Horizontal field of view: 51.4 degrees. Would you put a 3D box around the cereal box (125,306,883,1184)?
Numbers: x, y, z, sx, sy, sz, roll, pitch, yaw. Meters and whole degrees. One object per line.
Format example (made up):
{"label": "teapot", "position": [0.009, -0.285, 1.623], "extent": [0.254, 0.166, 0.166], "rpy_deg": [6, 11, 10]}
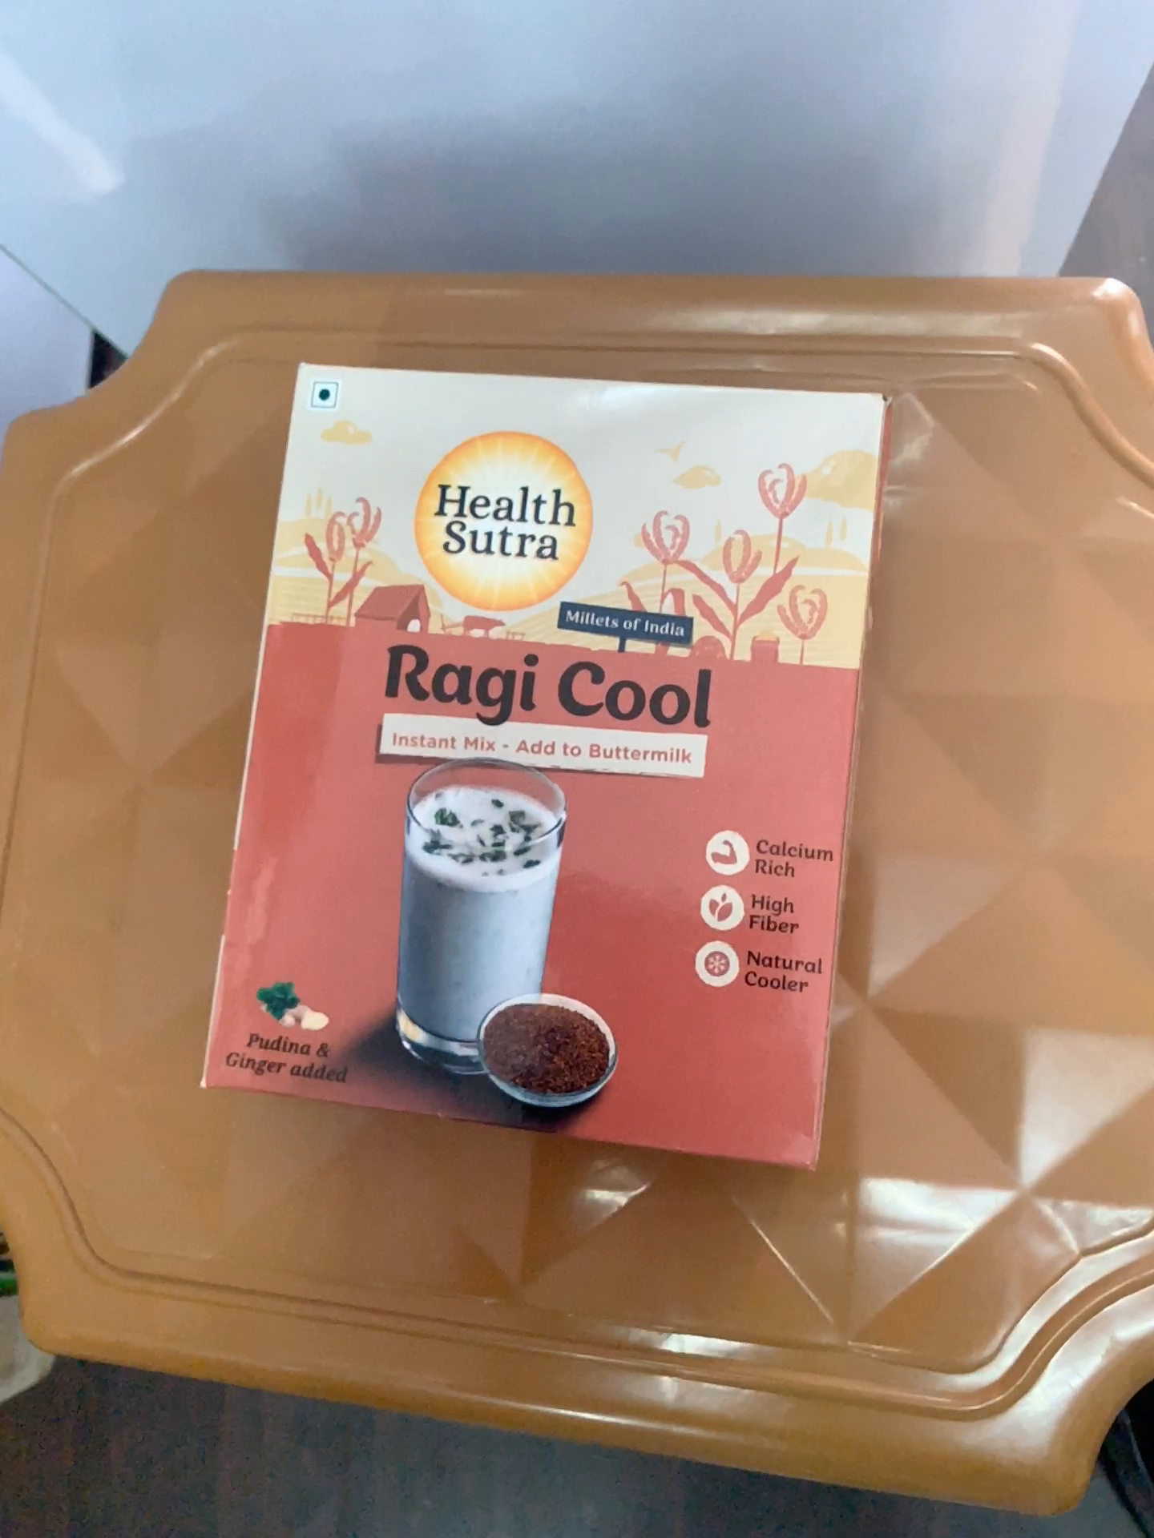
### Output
{"label": "cereal box", "position": [-0.013, -0.010, 0.264], "extent": [0.140, 0.040, 0.170], "rpy_deg": [5, 84, 9]}
